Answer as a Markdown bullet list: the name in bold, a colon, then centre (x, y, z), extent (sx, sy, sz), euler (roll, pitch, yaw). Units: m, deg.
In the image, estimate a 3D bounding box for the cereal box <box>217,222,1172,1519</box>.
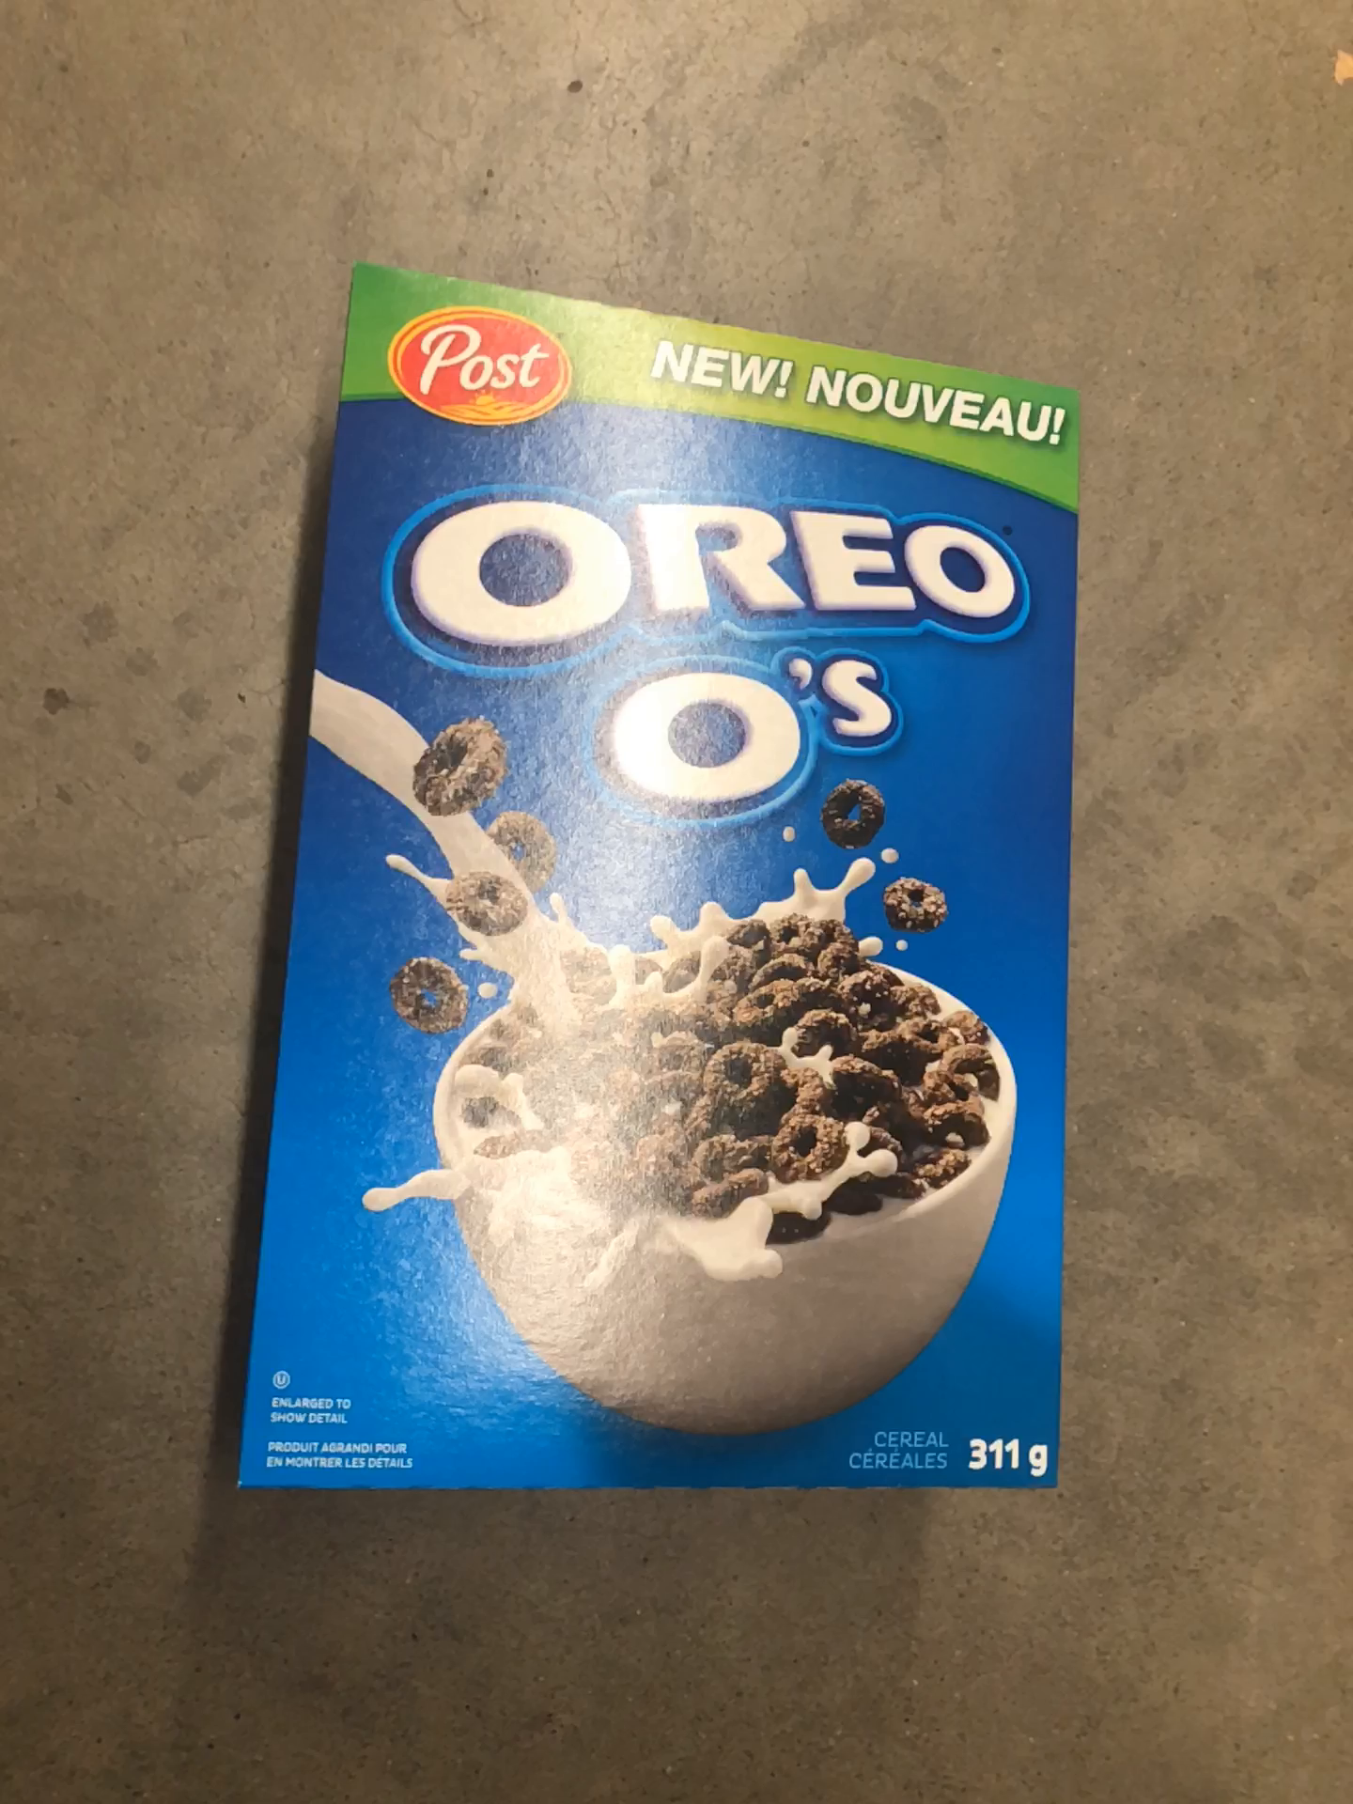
- **cereal box**: centre (0.010, -0.003, 0.373), extent (0.210, 0.070, 0.280), euler (5, 82, -12)
